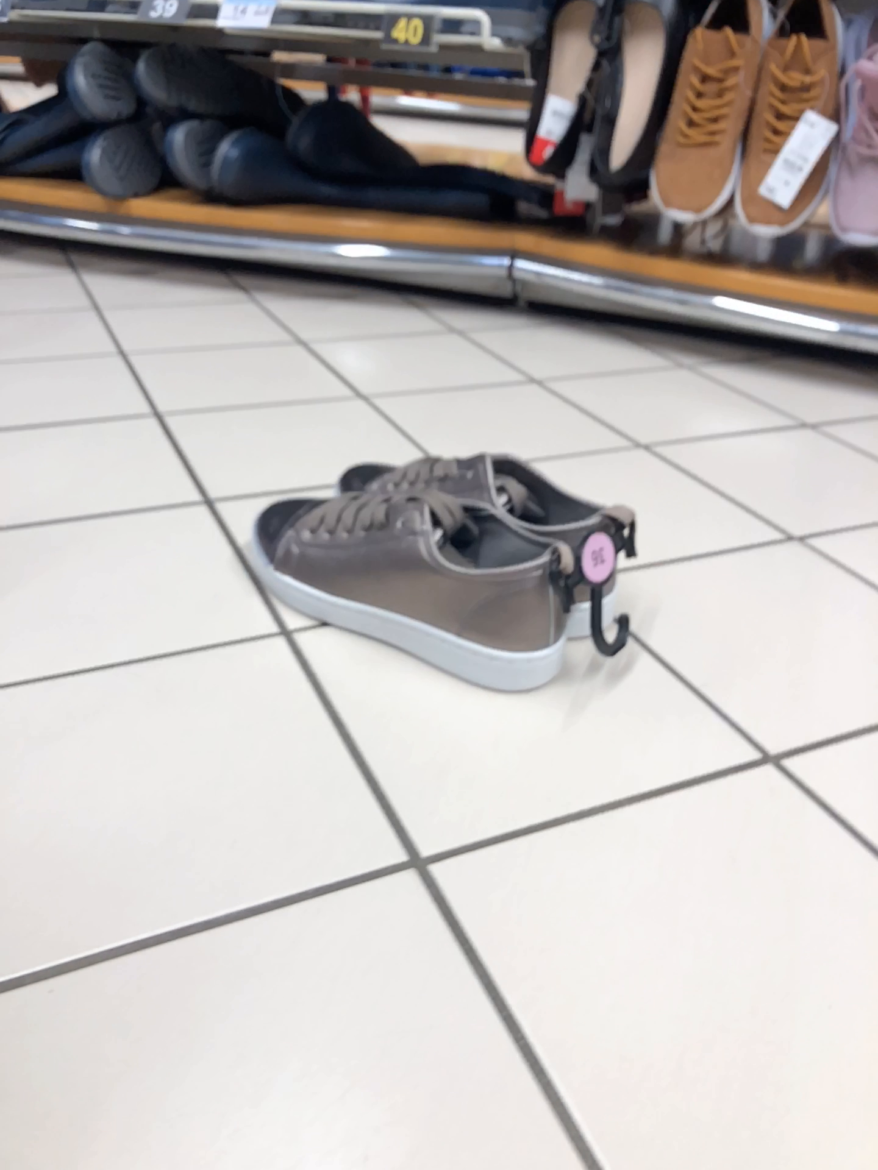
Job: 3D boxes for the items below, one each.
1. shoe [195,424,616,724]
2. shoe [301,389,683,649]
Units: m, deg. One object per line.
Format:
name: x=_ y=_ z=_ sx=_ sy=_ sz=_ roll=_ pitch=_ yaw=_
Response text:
shoe: x=-0.027 y=-0.018 z=0.586 sx=0.240 sy=0.080 sz=0.091 roll=22 pitch=34 yaw=30
shoe: x=0.026 y=-0.054 z=0.651 sx=0.240 sy=0.080 sz=0.091 roll=23 pitch=35 yaw=31
